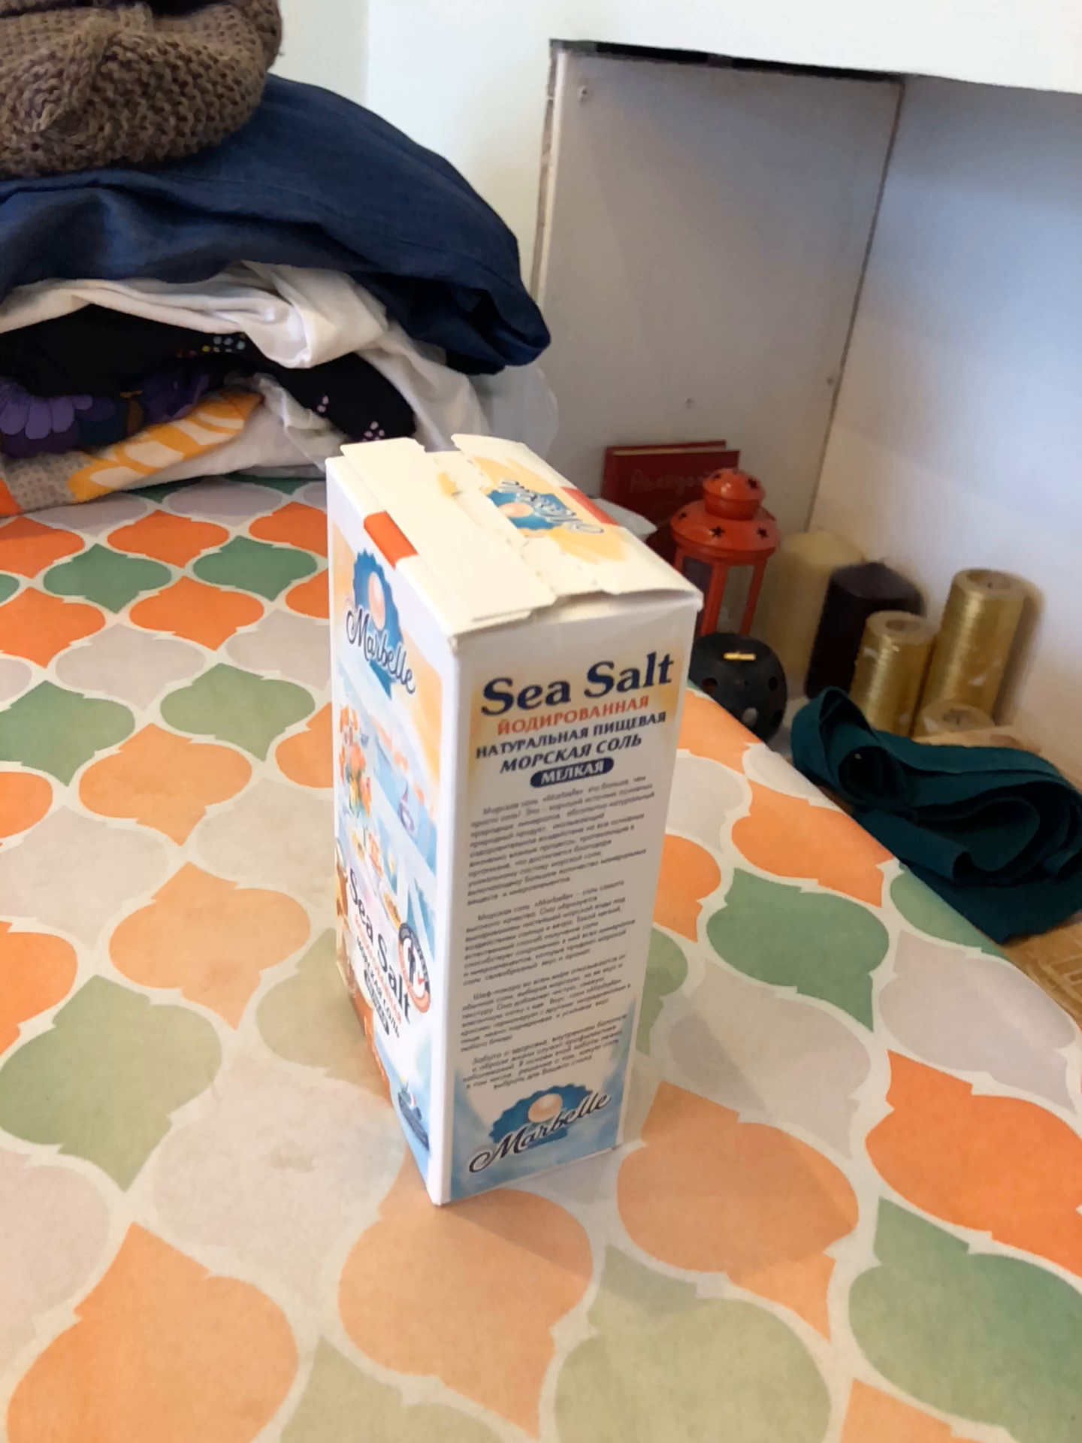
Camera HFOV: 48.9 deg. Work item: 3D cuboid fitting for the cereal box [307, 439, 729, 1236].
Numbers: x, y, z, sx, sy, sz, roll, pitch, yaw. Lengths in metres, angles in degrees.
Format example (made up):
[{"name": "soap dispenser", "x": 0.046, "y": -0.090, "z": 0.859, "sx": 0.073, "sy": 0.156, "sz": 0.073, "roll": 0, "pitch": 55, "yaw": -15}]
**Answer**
[{"name": "cereal box", "x": -0.016, "y": 0.028, "z": 0.307, "sx": 0.060, "sy": 0.169, "sz": 0.101, "roll": -9, "pitch": 34, "yaw": -22}]
